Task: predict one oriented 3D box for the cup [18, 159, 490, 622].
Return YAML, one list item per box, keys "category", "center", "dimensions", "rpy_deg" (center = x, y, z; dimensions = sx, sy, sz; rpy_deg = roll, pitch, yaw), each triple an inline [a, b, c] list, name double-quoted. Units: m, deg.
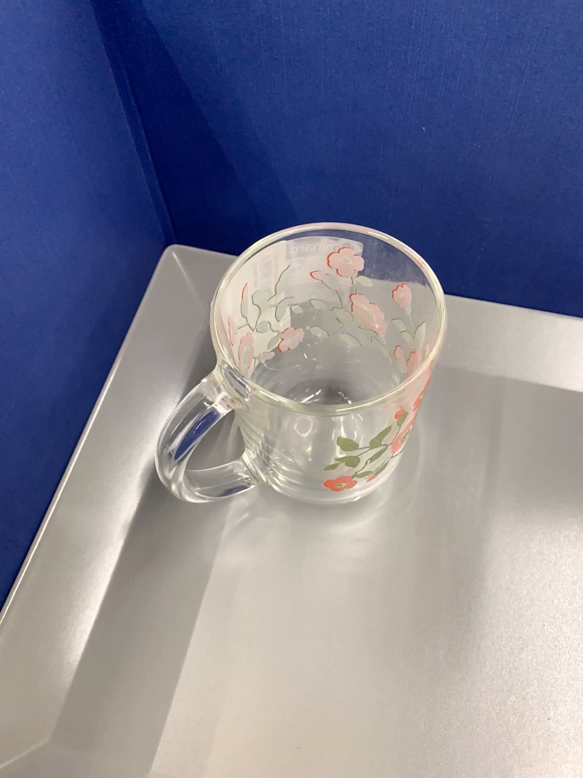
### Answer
- category: "cup"
  center: [-0.010, 0.004, 0.229]
  dimensions: [0.114, 0.104, 0.088]
  rpy_deg: [-36, 64, -18]
